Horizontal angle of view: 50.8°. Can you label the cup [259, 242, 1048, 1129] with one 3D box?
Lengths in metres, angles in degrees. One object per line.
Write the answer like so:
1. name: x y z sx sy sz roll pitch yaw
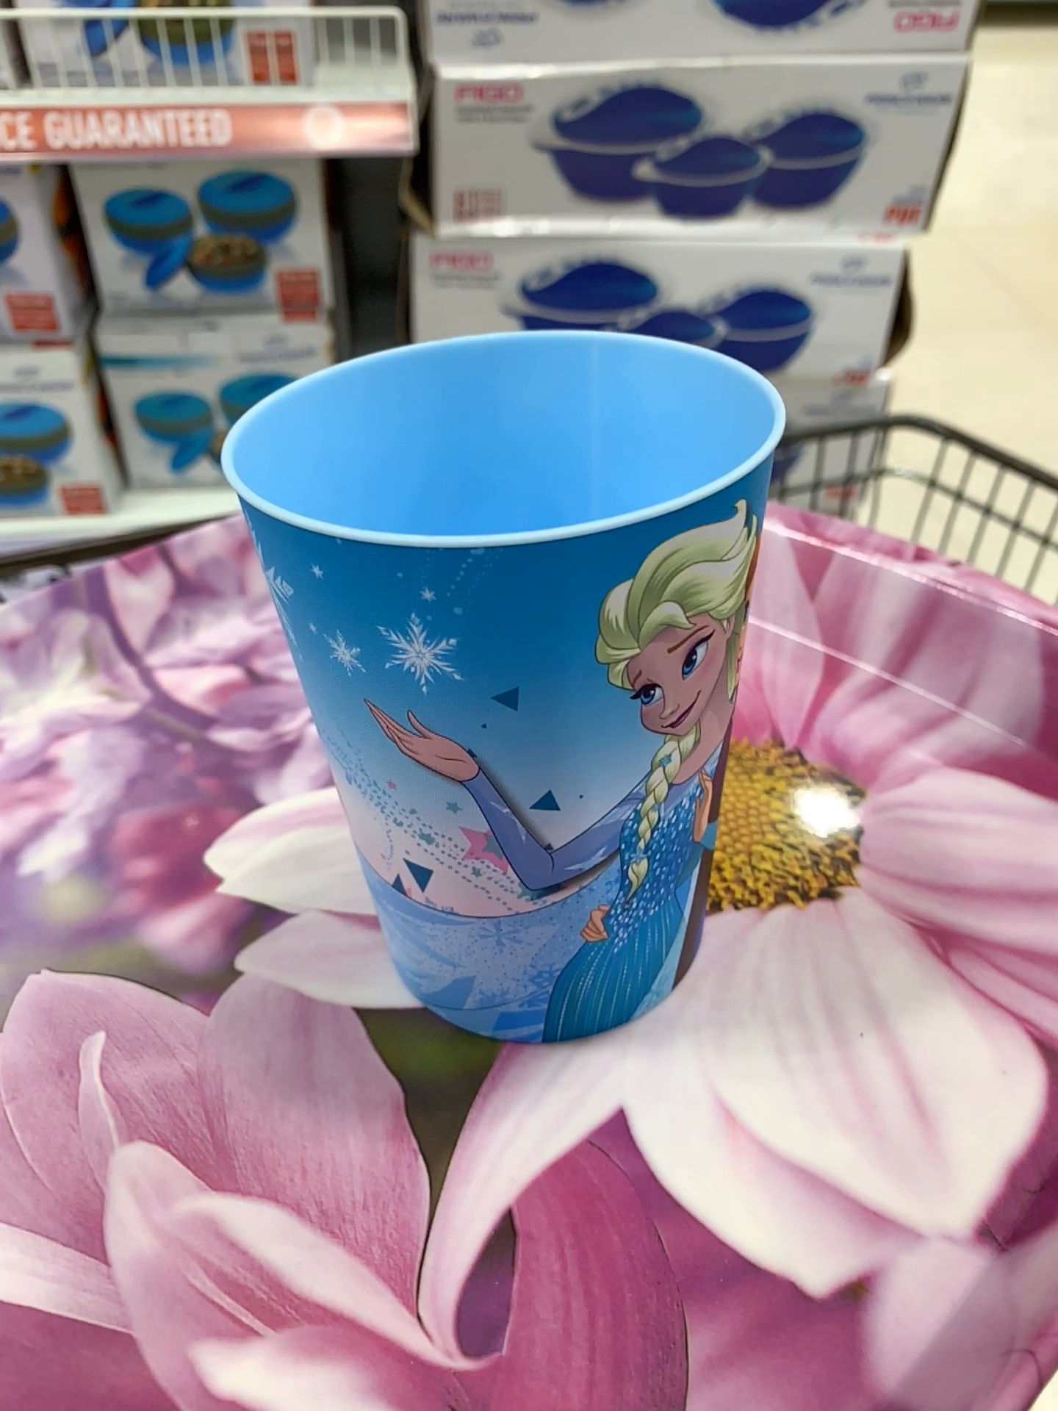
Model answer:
1. cup: 0.012 -0.002 0.173 0.080 0.109 0.060 -13 41 -14
